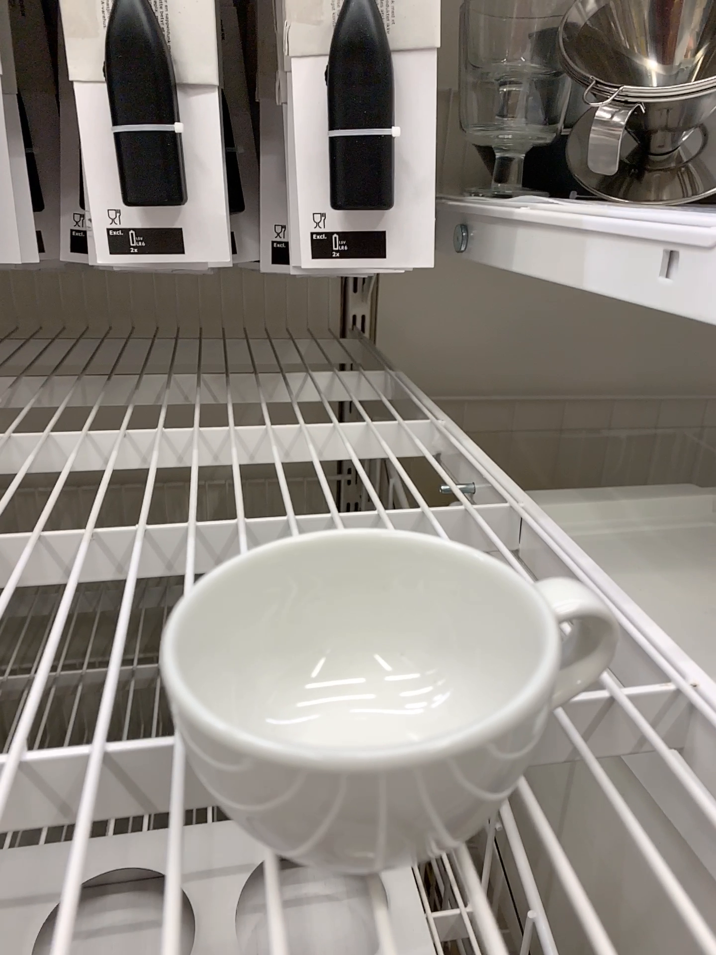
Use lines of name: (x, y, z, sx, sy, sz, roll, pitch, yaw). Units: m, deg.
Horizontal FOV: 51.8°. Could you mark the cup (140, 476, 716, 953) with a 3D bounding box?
cup: (0.012, 0.038, 0.172, 0.116, 0.036, 0.097, -5, 22, -17)
